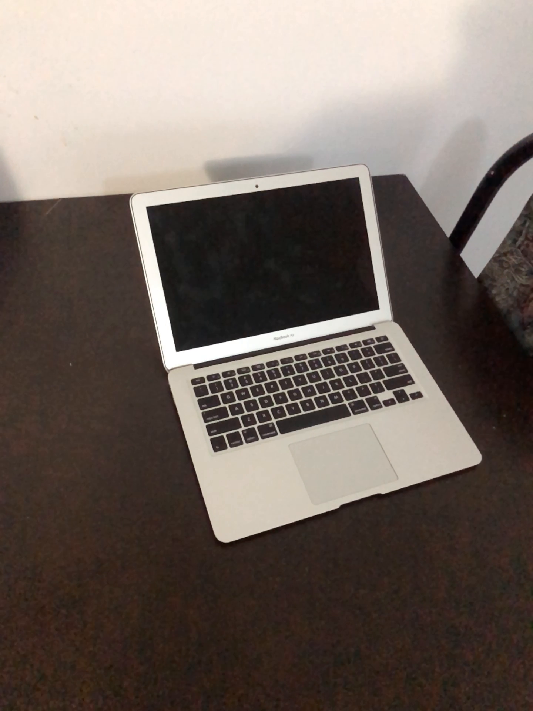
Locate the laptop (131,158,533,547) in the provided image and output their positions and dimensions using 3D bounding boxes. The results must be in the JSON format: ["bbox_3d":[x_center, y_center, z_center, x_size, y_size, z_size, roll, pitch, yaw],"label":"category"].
[{"bbox_3d":[0.044,-0.035,0.643,0.303,0.136,0.362,-13,53,-16],"label":"laptop"}]
